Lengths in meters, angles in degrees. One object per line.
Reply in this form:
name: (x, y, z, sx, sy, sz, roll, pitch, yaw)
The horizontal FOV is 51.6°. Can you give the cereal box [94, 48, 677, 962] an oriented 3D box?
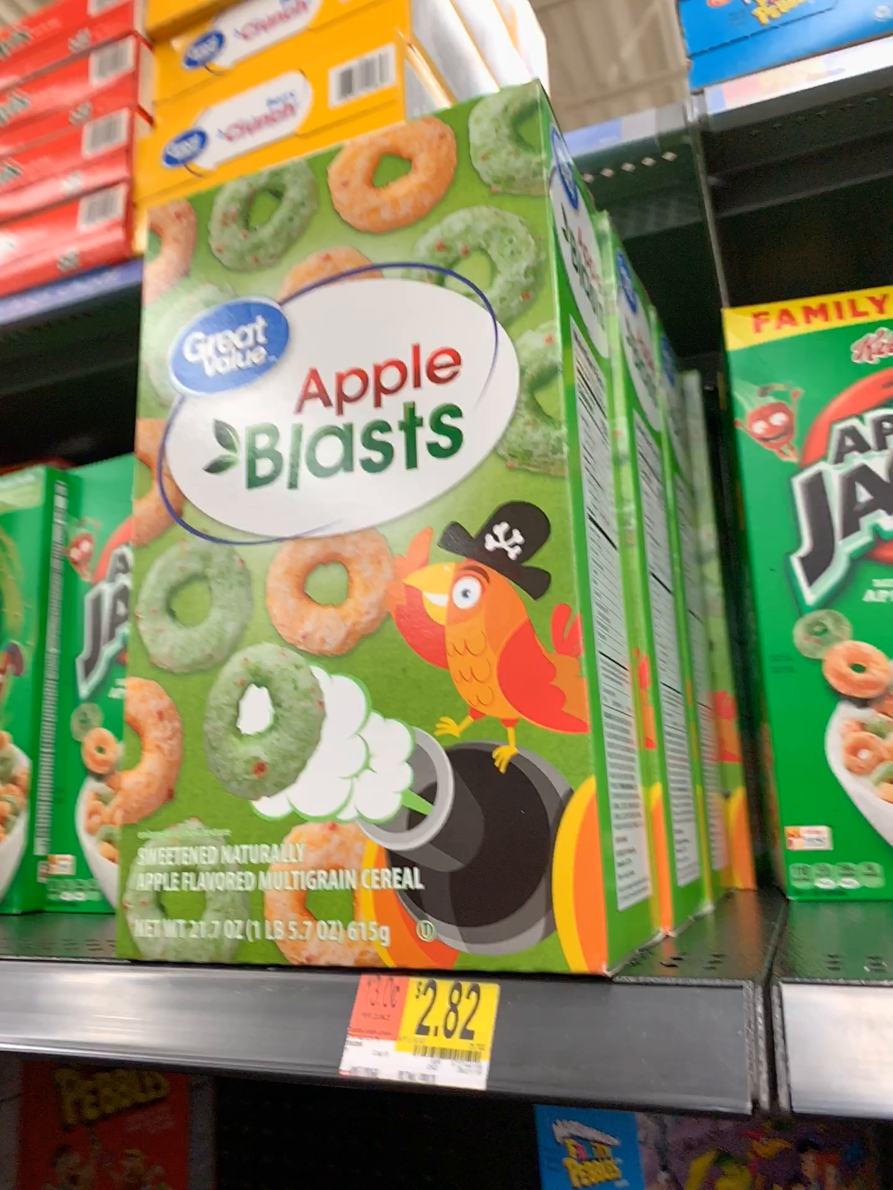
cereal box: (-0.025, -0.029, 0.396, 0.200, 0.331, 0.100, -7, -15, 20)
